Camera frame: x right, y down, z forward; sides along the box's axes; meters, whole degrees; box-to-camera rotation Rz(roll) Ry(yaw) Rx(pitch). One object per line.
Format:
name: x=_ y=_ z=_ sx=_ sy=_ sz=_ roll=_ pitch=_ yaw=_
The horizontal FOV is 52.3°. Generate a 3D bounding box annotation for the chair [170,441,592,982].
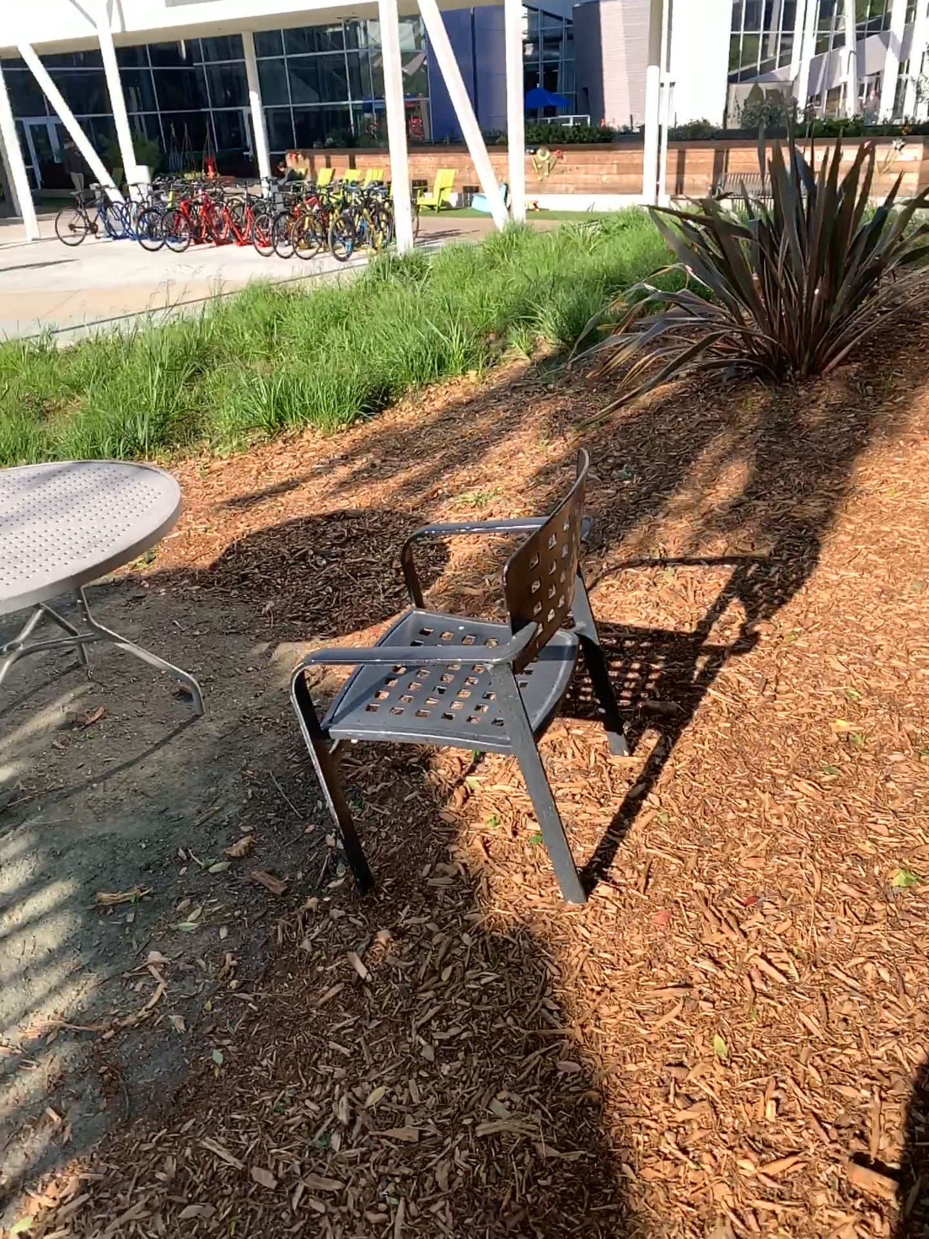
chair: x=-0.091 y=0.127 z=1.692 sx=0.501 sy=0.716 sz=0.522 roll=9 pitch=30 yaw=21
